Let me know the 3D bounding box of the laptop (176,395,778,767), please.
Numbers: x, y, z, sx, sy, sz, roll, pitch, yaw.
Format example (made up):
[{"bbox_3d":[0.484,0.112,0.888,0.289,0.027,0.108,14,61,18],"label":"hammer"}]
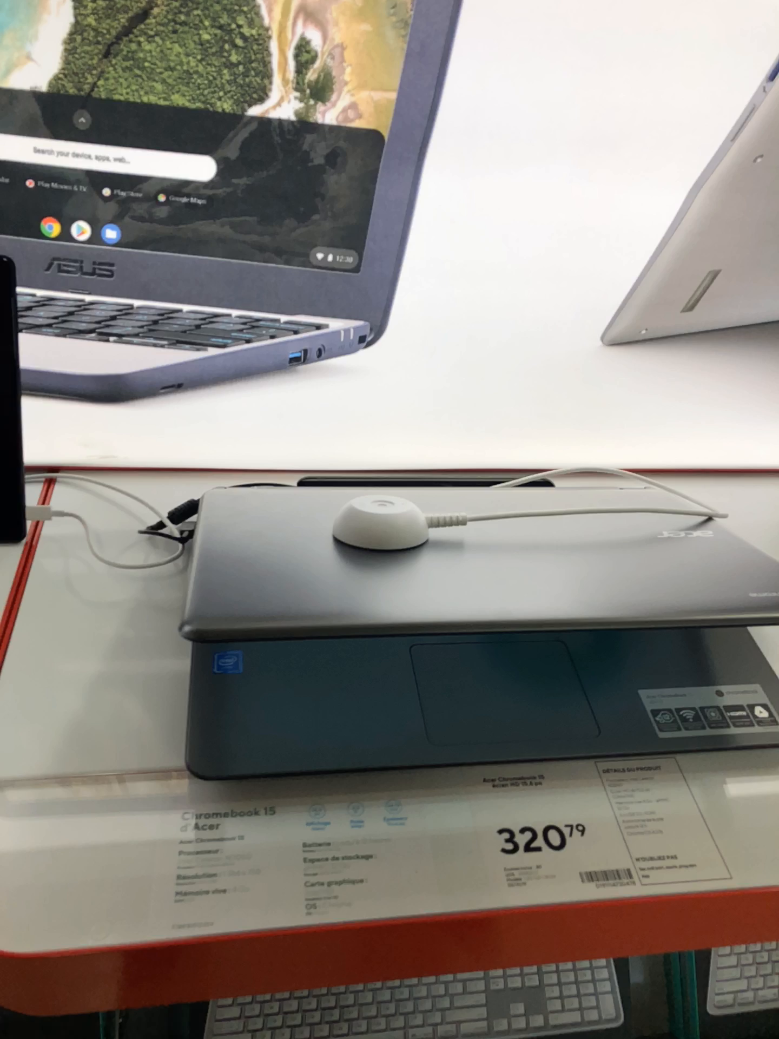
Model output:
[{"bbox_3d":[0.058,0.023,0.558,0.369,0.088,0.249,0,38,-9],"label":"laptop"}]
